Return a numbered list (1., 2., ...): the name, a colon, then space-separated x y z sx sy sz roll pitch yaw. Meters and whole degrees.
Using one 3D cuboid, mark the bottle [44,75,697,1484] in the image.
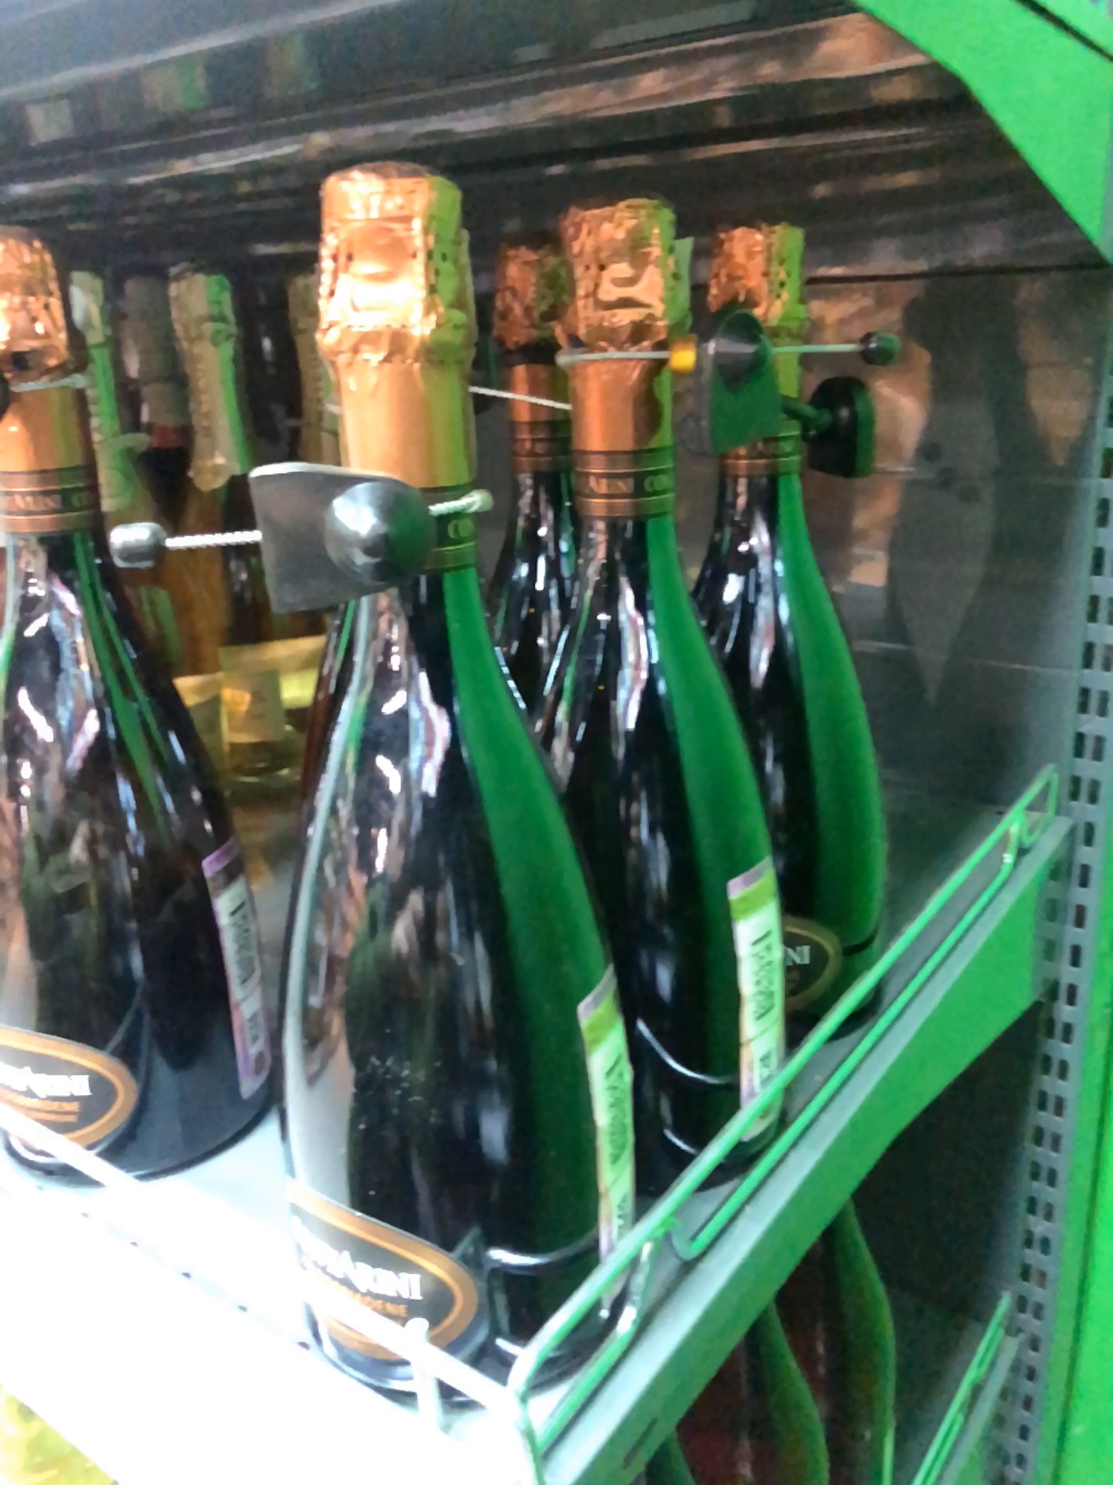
1. bottle: -0.032 0.014 0.310 0.100 0.299 0.100 -2 17 1
